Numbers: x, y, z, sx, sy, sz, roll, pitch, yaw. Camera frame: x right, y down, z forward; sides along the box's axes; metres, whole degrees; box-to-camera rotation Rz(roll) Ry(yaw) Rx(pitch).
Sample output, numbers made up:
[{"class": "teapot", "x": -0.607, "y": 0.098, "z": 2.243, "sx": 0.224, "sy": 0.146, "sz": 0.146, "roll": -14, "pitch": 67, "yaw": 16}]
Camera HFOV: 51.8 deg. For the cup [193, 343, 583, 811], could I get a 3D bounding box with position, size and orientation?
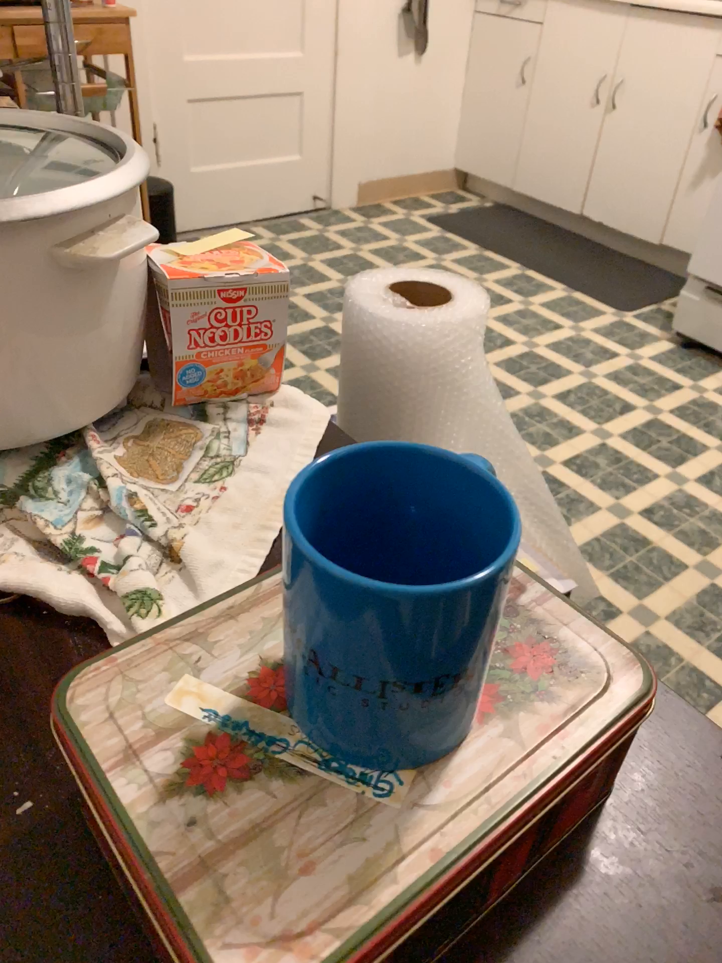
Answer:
[{"class": "cup", "x": 0.015, "y": 0.027, "z": 0.292, "sx": 0.090, "sy": 0.099, "sz": 0.131, "roll": 20, "pitch": 40, "yaw": 20}]
